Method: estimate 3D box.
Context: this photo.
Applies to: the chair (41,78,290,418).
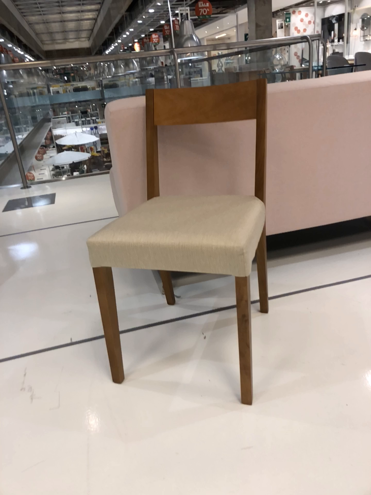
[{"bbox_3d":[0.034,-0.054,1.264,0.490,0.814,0.594,3,24,21],"label":"chair"}]
